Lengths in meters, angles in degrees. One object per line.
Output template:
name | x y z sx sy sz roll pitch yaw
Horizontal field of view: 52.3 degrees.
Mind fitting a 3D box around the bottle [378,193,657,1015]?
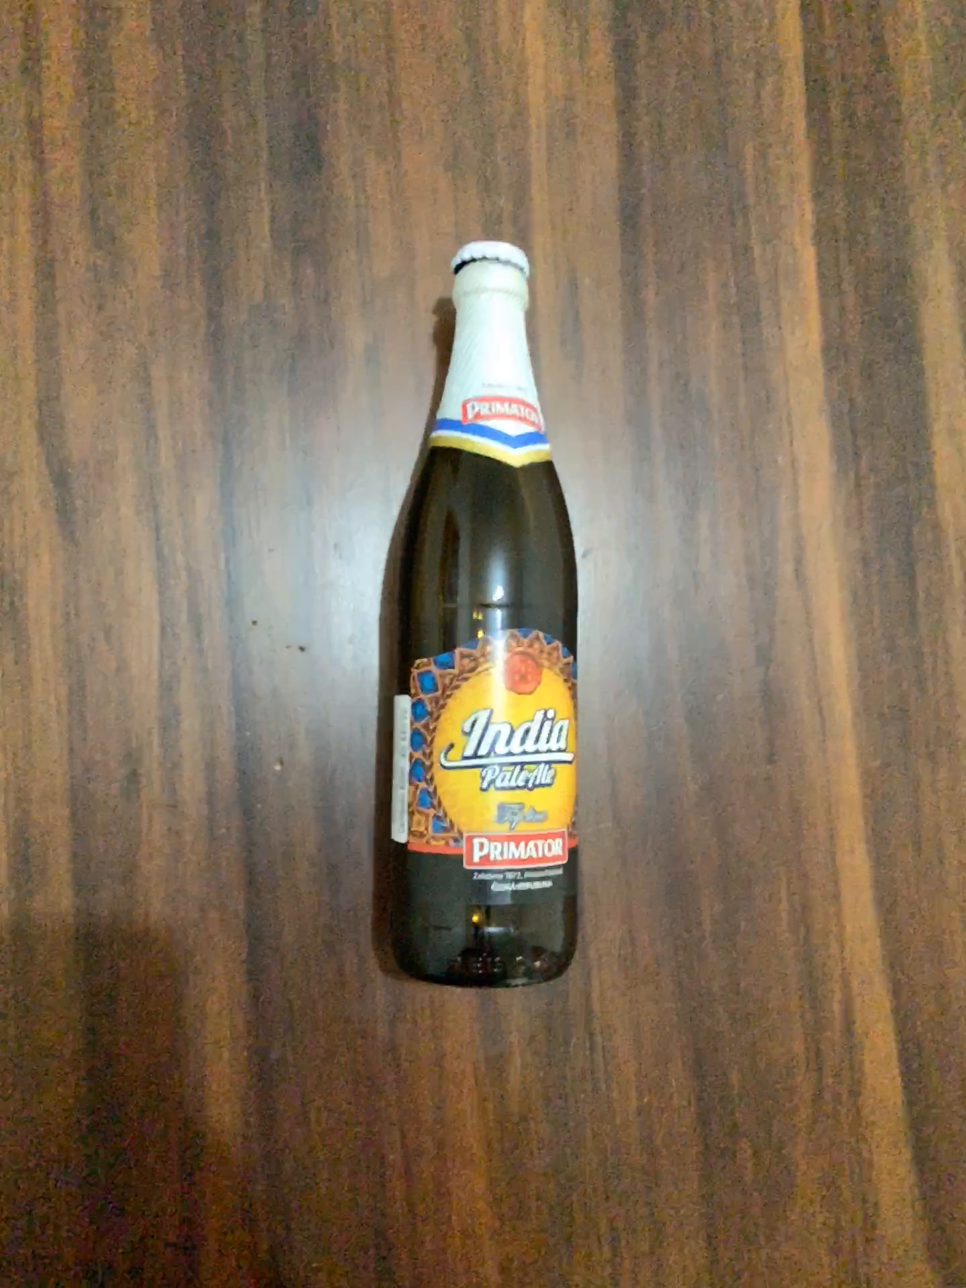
bottle | 0.008 -0.014 0.350 0.080 0.060 0.260 1 85 -19
